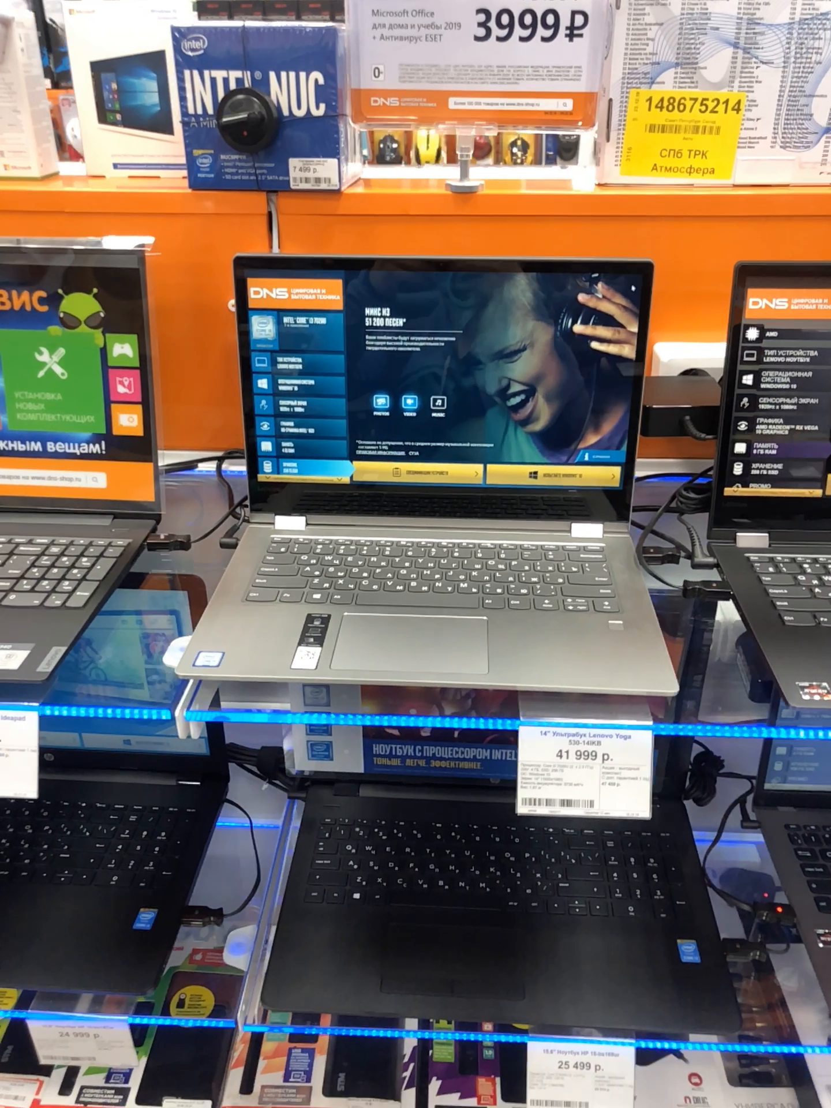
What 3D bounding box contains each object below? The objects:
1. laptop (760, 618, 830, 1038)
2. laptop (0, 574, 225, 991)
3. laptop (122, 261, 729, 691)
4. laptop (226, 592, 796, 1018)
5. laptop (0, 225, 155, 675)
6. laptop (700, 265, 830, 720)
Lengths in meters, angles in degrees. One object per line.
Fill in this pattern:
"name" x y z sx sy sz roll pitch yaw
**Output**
"laptop" 0.480 0.202 0.727 0.308 0.213 0.238 1 27 6
"laptop" -0.393 0.183 0.787 0.378 0.235 0.240 1 28 4
"laptop" 0.011 -0.069 0.628 0.315 0.212 0.239 2 28 4
"laptop" 0.070 0.192 0.754 0.367 0.207 0.264 0 29 3
"laptop" -0.390 -0.089 0.642 0.305 0.212 0.280 1 29 -1
"laptop" 0.381 -0.058 0.602 0.290 0.209 0.249 1 28 4
